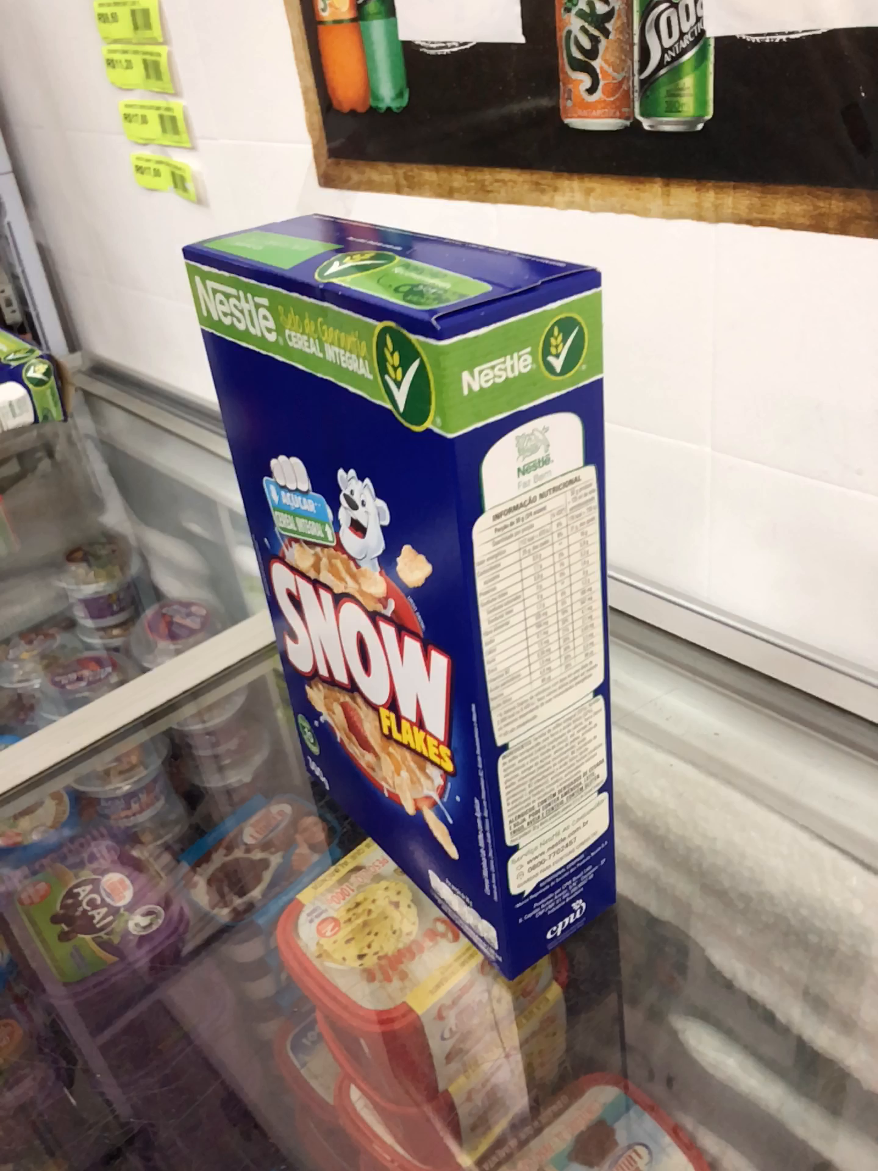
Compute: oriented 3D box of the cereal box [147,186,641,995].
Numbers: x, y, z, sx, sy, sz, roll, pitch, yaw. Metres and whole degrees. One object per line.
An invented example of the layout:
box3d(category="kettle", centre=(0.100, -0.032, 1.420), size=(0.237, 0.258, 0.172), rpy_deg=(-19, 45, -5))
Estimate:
box3d(category="cereal box", centre=(-0.012, -0.002, 0.372), size=(0.070, 0.258, 0.171), rpy_deg=(-26, 36, -26))
